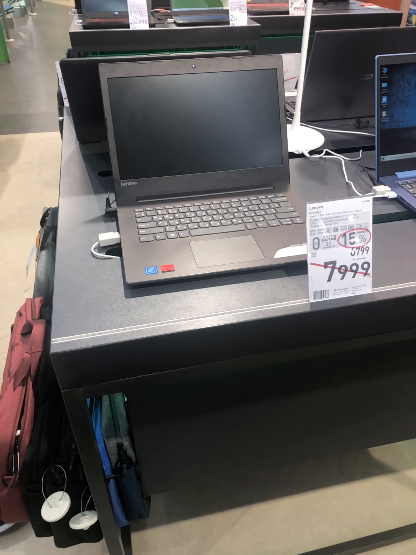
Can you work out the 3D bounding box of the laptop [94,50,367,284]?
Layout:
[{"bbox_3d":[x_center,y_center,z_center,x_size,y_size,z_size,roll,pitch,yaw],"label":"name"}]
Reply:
[{"bbox_3d":[0.003,-0.208,0.752,0.330,0.205,0.363,-8,40,-10],"label":"laptop"}]
